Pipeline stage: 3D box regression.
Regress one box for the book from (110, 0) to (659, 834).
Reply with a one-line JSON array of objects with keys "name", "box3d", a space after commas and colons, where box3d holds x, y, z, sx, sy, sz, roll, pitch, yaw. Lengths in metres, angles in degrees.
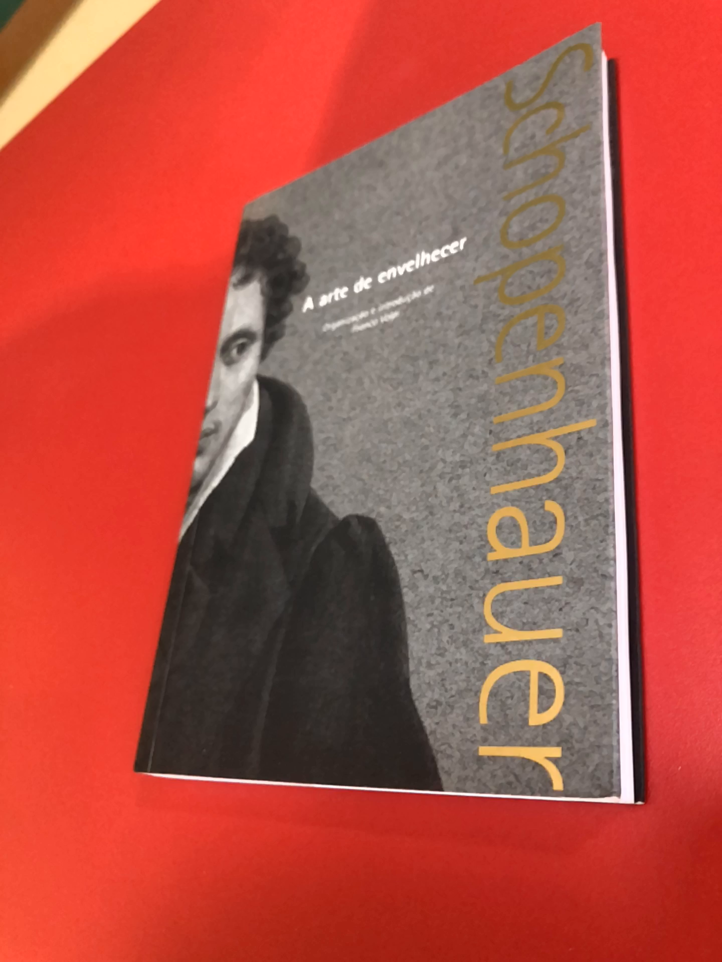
[{"name": "book", "box3d": [0.003, -0.019, 0.217, 0.137, 0.017, 0.196, -12, 61, 36]}]
